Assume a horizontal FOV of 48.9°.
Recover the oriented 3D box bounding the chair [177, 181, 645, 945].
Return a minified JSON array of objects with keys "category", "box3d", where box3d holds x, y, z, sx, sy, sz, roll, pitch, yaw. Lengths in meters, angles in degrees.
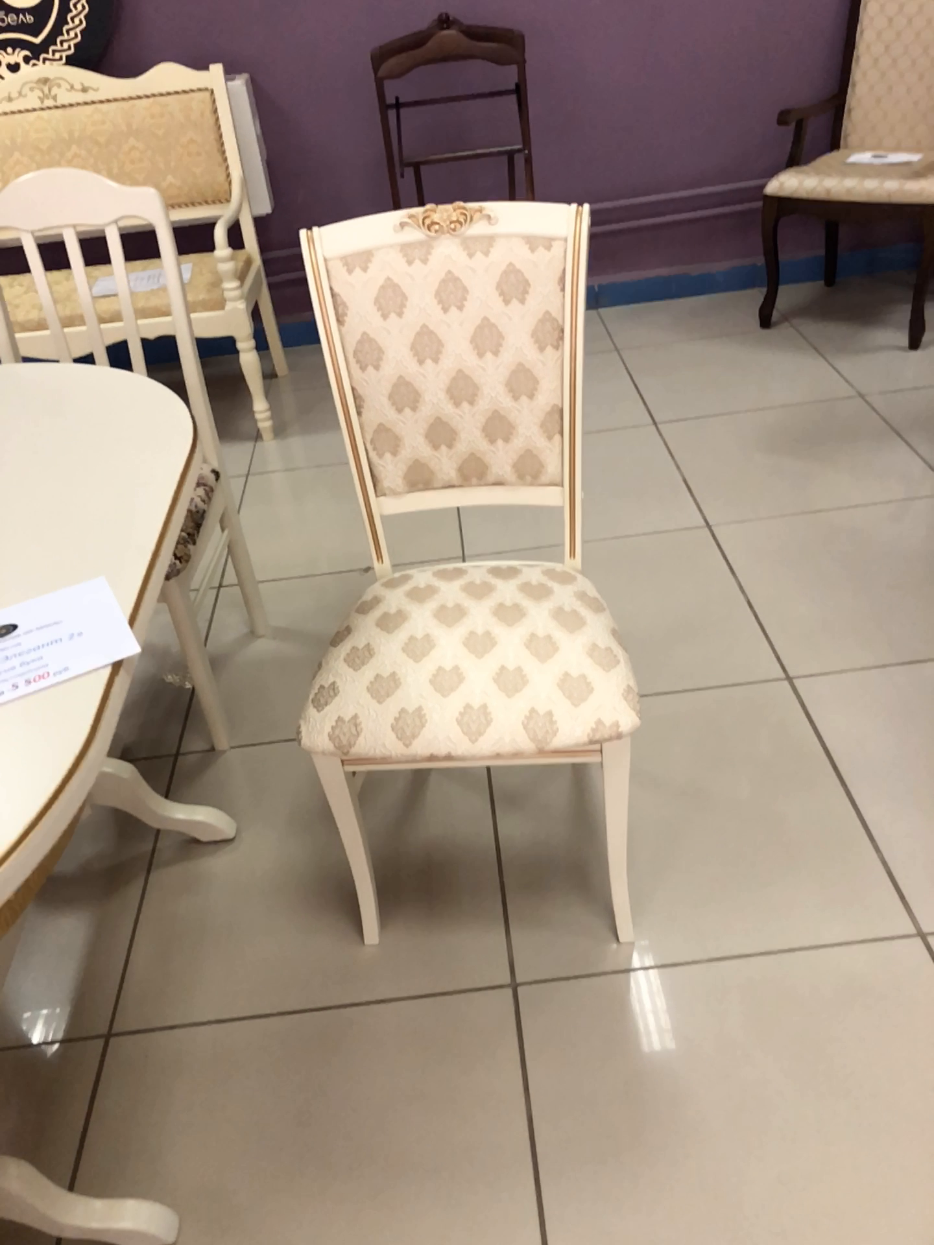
[{"category":"chair","box3d":[0.003,-0.047,1.453,0.448,0.944,0.484,-3,35,7]}]
